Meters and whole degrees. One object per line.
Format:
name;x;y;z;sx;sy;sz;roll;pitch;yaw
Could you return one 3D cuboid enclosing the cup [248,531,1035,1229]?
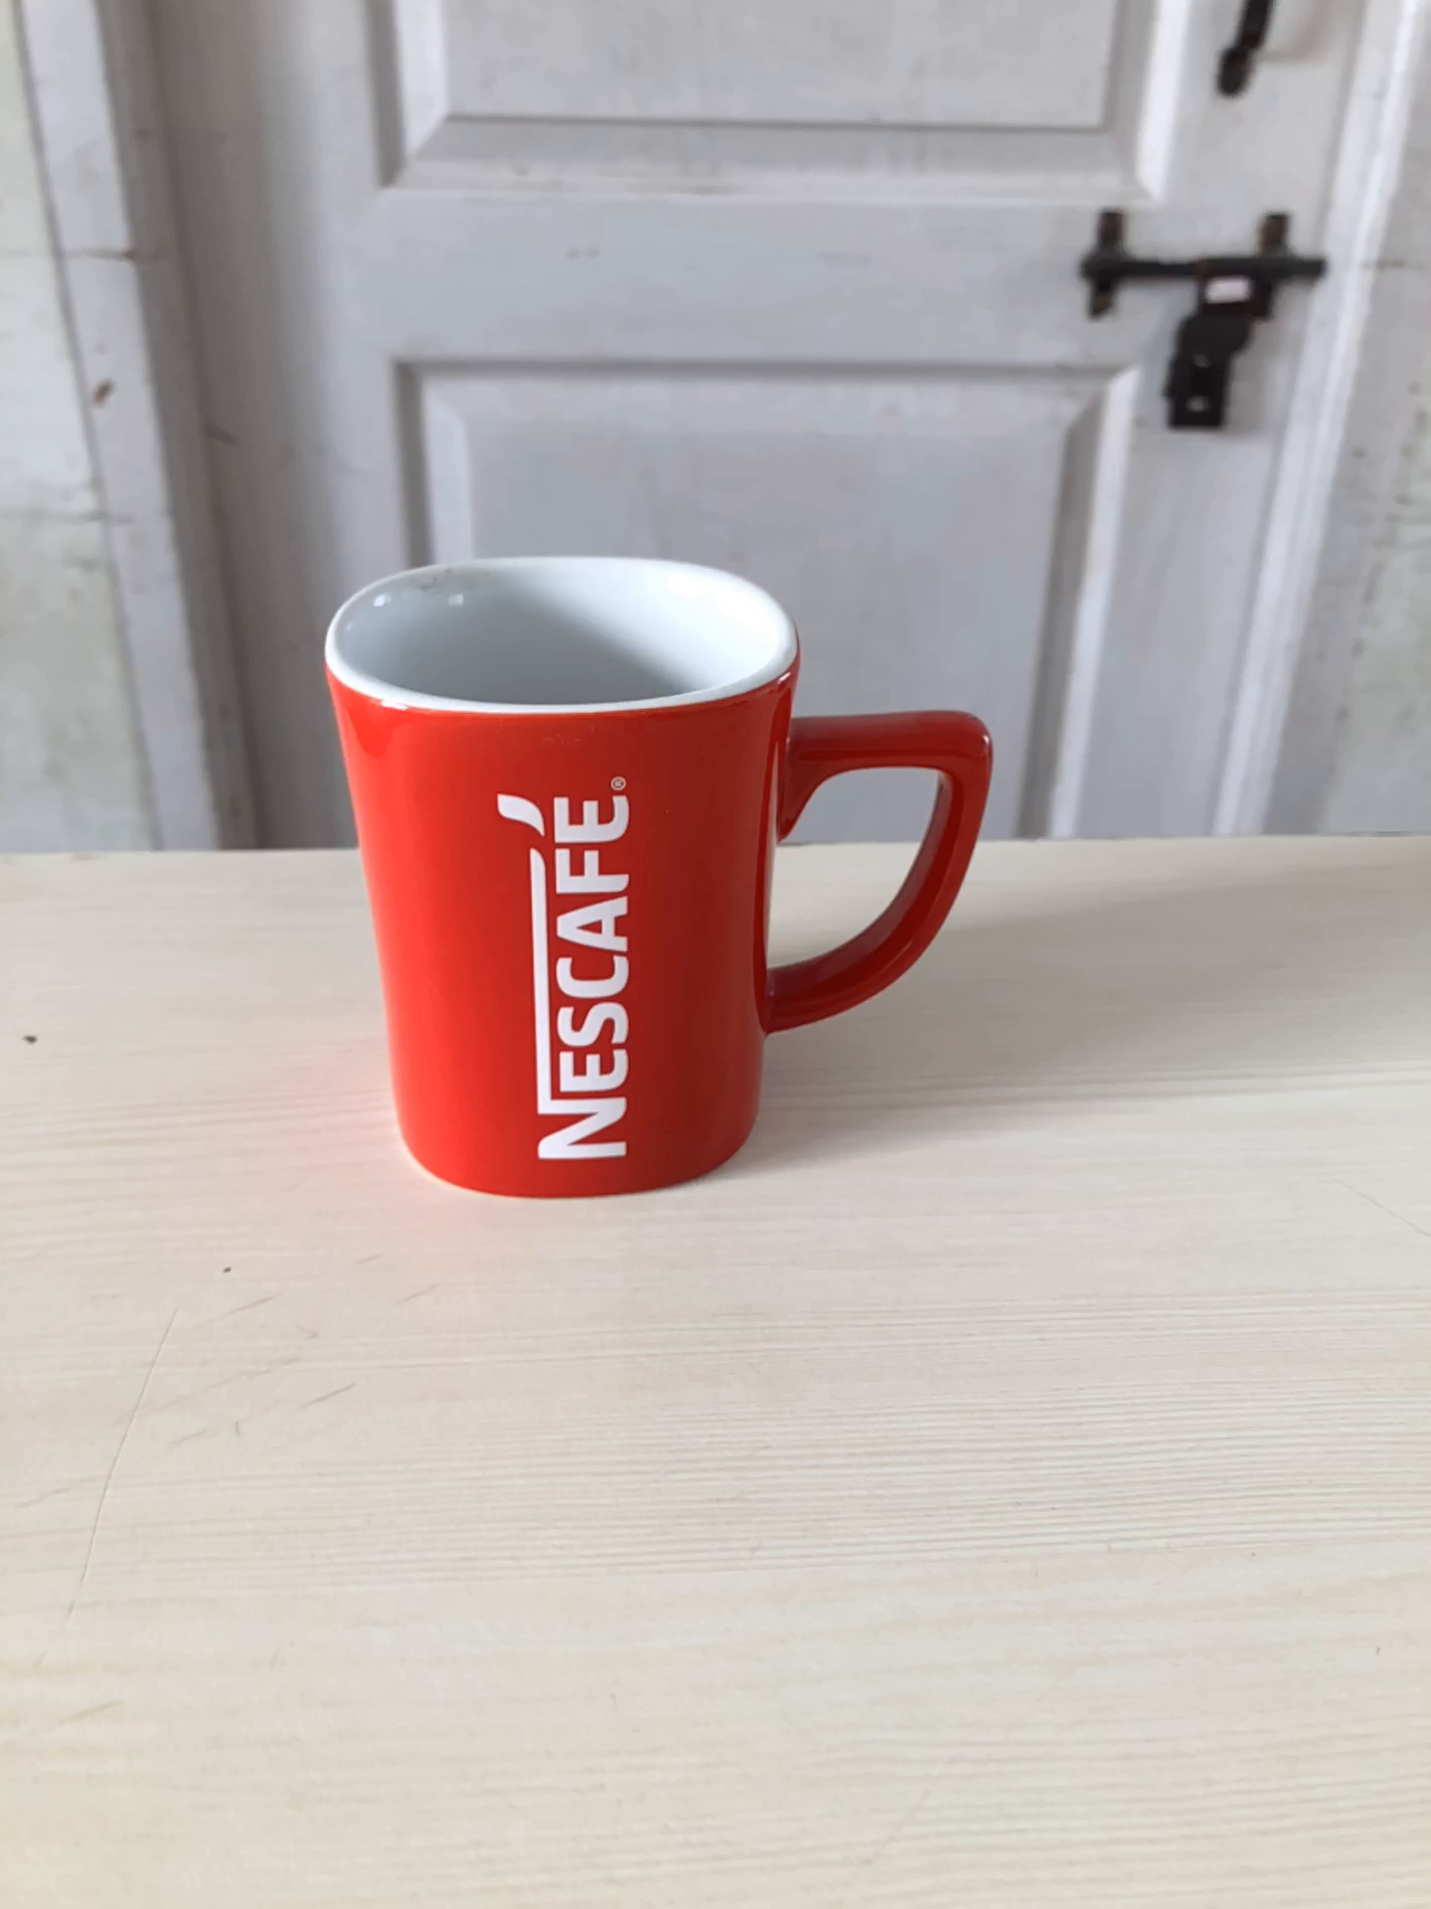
cup;-0.015;-0.017;0.280;0.110;0.089;0.080;-3;30;-7
